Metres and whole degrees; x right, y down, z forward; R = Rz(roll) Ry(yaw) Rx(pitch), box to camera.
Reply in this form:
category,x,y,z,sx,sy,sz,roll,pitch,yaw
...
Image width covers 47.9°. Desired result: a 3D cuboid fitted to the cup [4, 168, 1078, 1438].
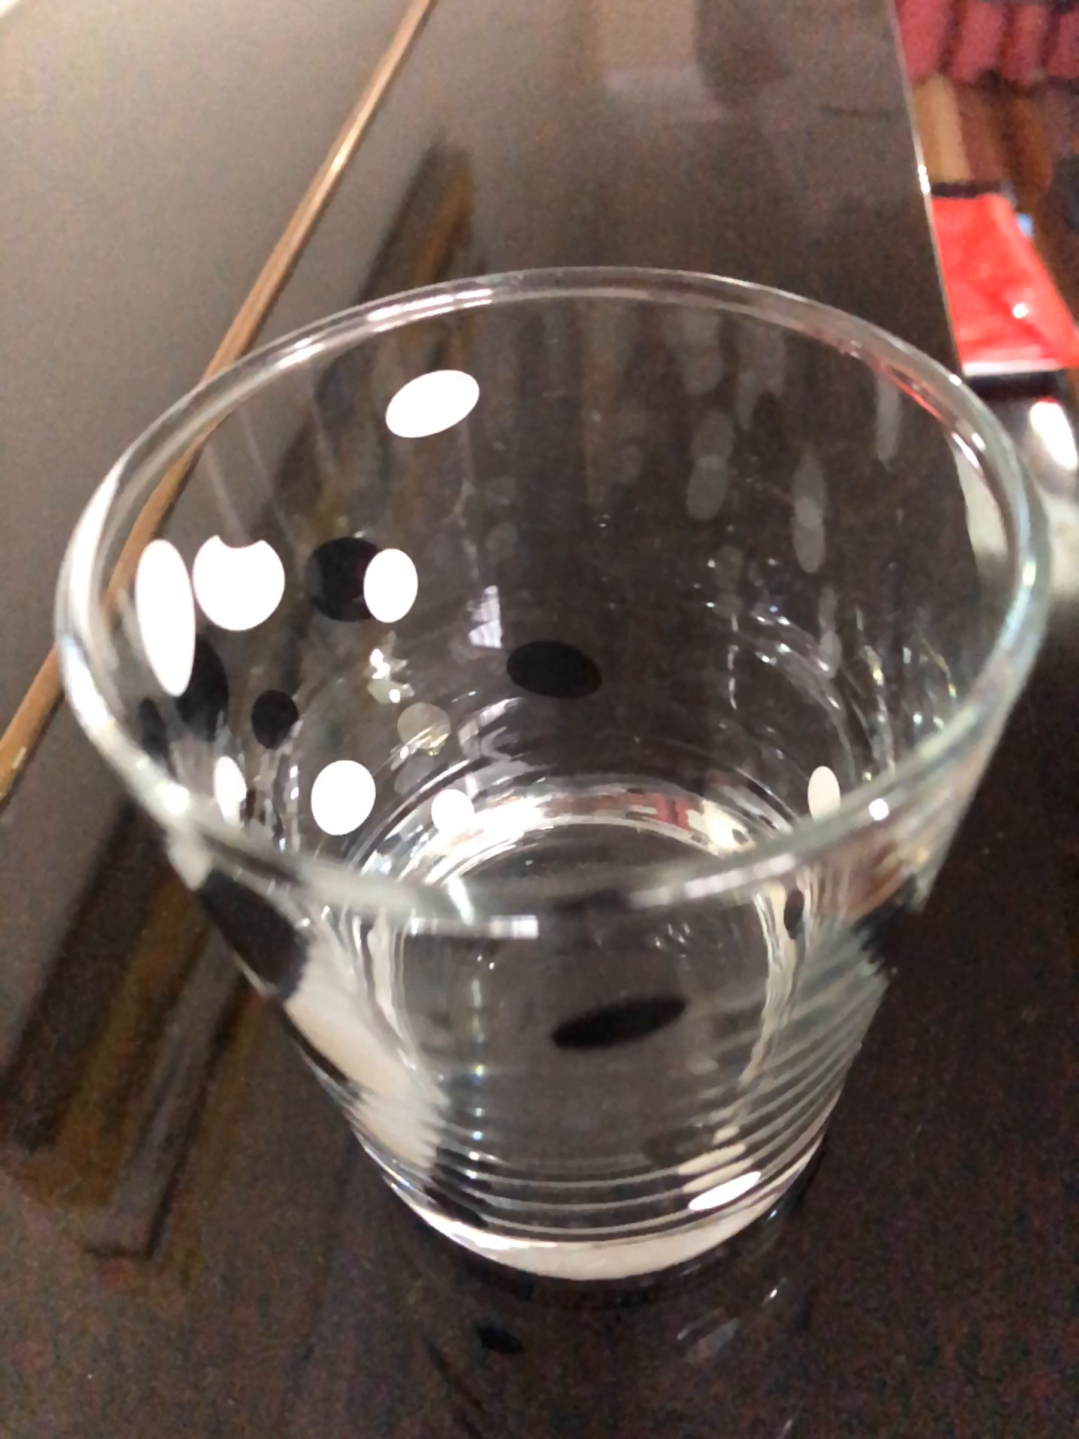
category,x,y,z,sx,sy,sz,roll,pitch,yaw
cup,0.001,0.012,0.135,0.070,0.099,0.080,-21,48,-14
